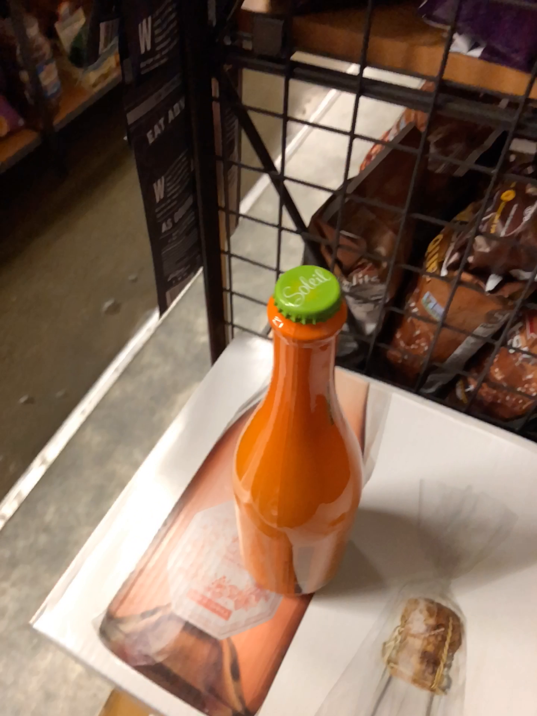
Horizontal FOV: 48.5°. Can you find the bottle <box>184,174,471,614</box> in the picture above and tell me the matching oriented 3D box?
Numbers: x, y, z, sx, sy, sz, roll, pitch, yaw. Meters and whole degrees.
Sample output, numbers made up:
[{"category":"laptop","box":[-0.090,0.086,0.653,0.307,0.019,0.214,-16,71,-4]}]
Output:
[{"category":"bottle","box":[0.024,0.048,0.351,0.090,0.280,0.090,1,52,-1]}]
